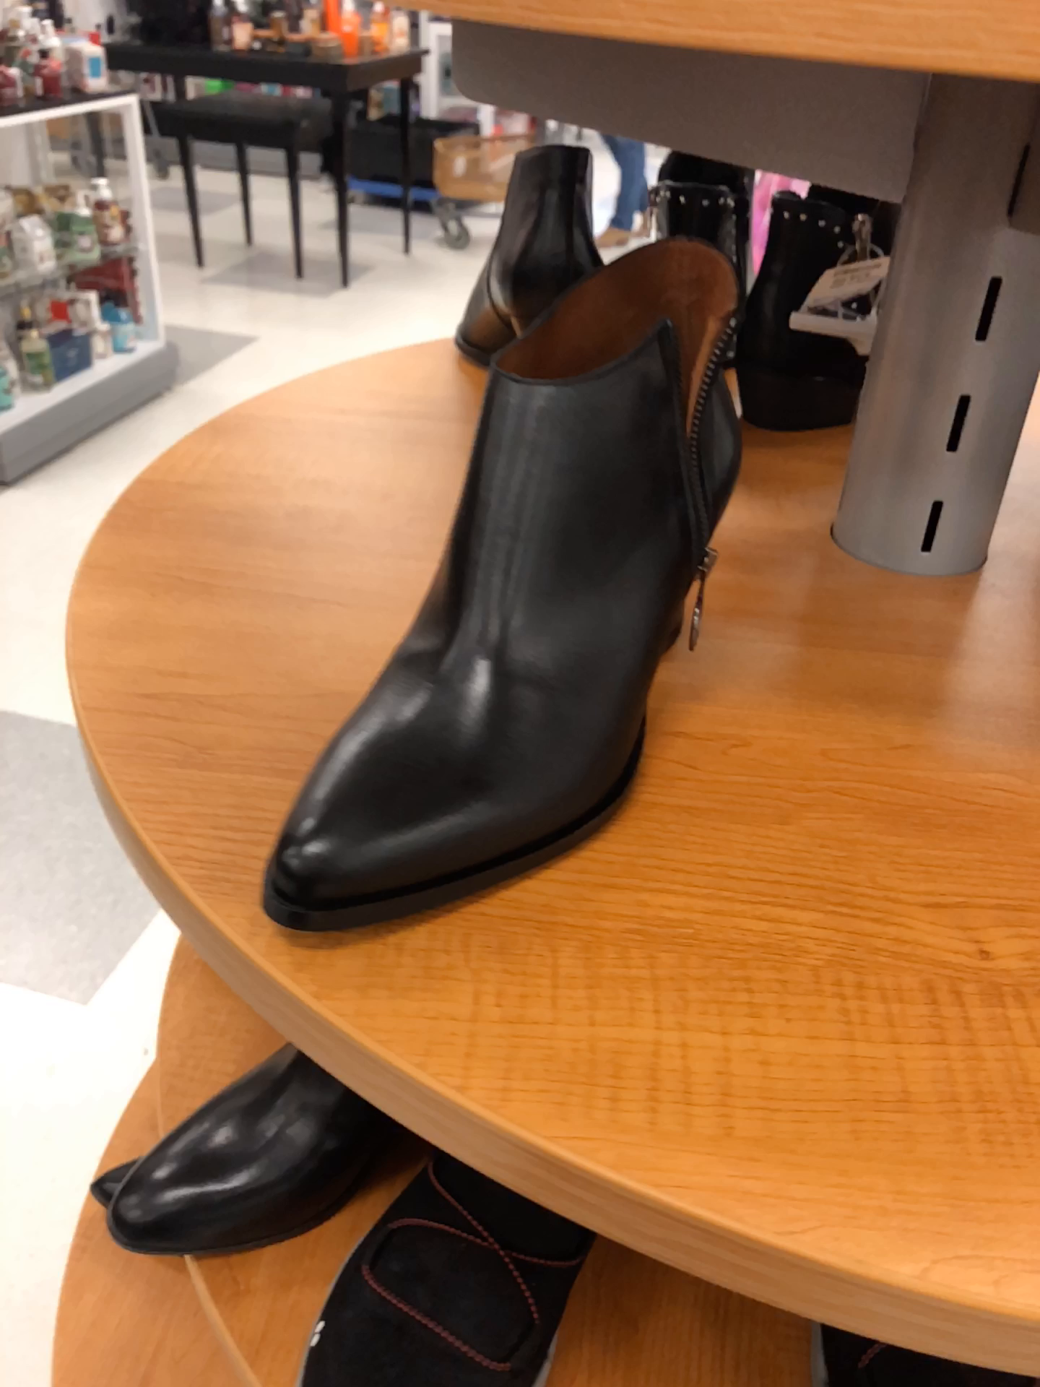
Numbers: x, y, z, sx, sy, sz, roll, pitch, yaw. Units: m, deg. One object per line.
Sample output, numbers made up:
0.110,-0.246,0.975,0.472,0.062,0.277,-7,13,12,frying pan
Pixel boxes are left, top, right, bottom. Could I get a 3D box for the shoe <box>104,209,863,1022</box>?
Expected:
0.010,-0.051,0.383,0.101,0.156,0.259,20,37,24,shoe
